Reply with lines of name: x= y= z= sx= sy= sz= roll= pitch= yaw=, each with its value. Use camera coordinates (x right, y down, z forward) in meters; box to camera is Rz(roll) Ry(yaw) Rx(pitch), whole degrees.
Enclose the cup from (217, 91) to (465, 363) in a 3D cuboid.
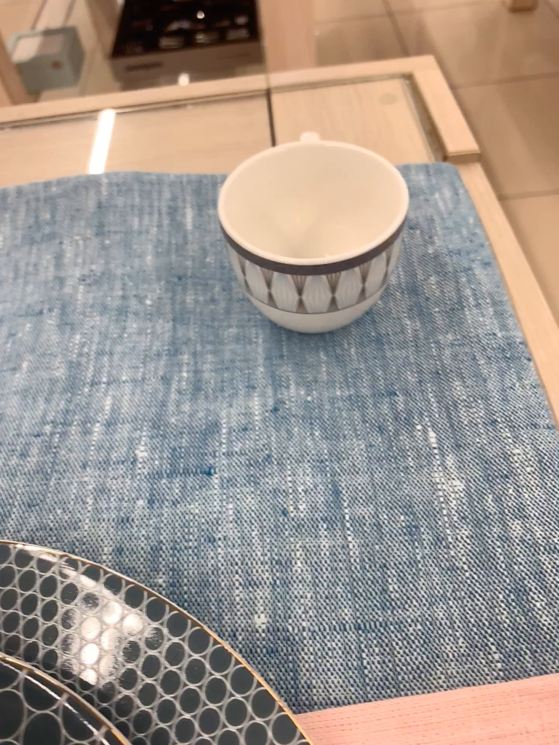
cup: x=0.017 y=-0.056 z=0.215 sx=0.070 sy=0.040 sz=0.090 roll=-8 pitch=53 yaw=1
